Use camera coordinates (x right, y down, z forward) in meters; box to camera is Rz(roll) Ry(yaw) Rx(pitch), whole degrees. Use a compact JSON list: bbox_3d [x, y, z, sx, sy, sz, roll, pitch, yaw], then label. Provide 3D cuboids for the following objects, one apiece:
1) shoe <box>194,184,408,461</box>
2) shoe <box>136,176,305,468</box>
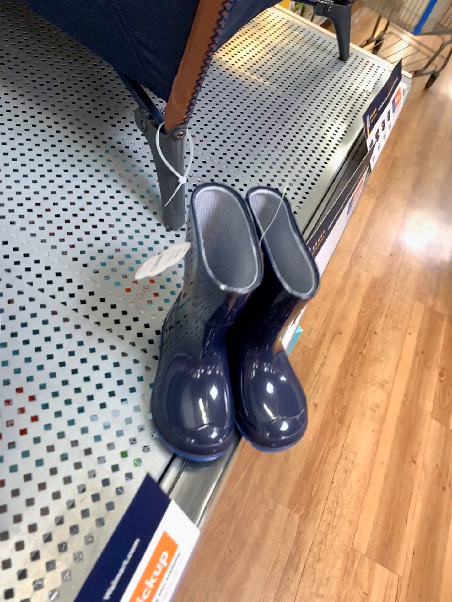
[{"bbox_3d":[0.042,0.017,0.384,0.076,0.143,0.174,-6,56,-19],"label":"shoe"},{"bbox_3d":[-0.021,0.017,0.364,0.074,0.143,0.174,-2,54,-17],"label":"shoe"}]
